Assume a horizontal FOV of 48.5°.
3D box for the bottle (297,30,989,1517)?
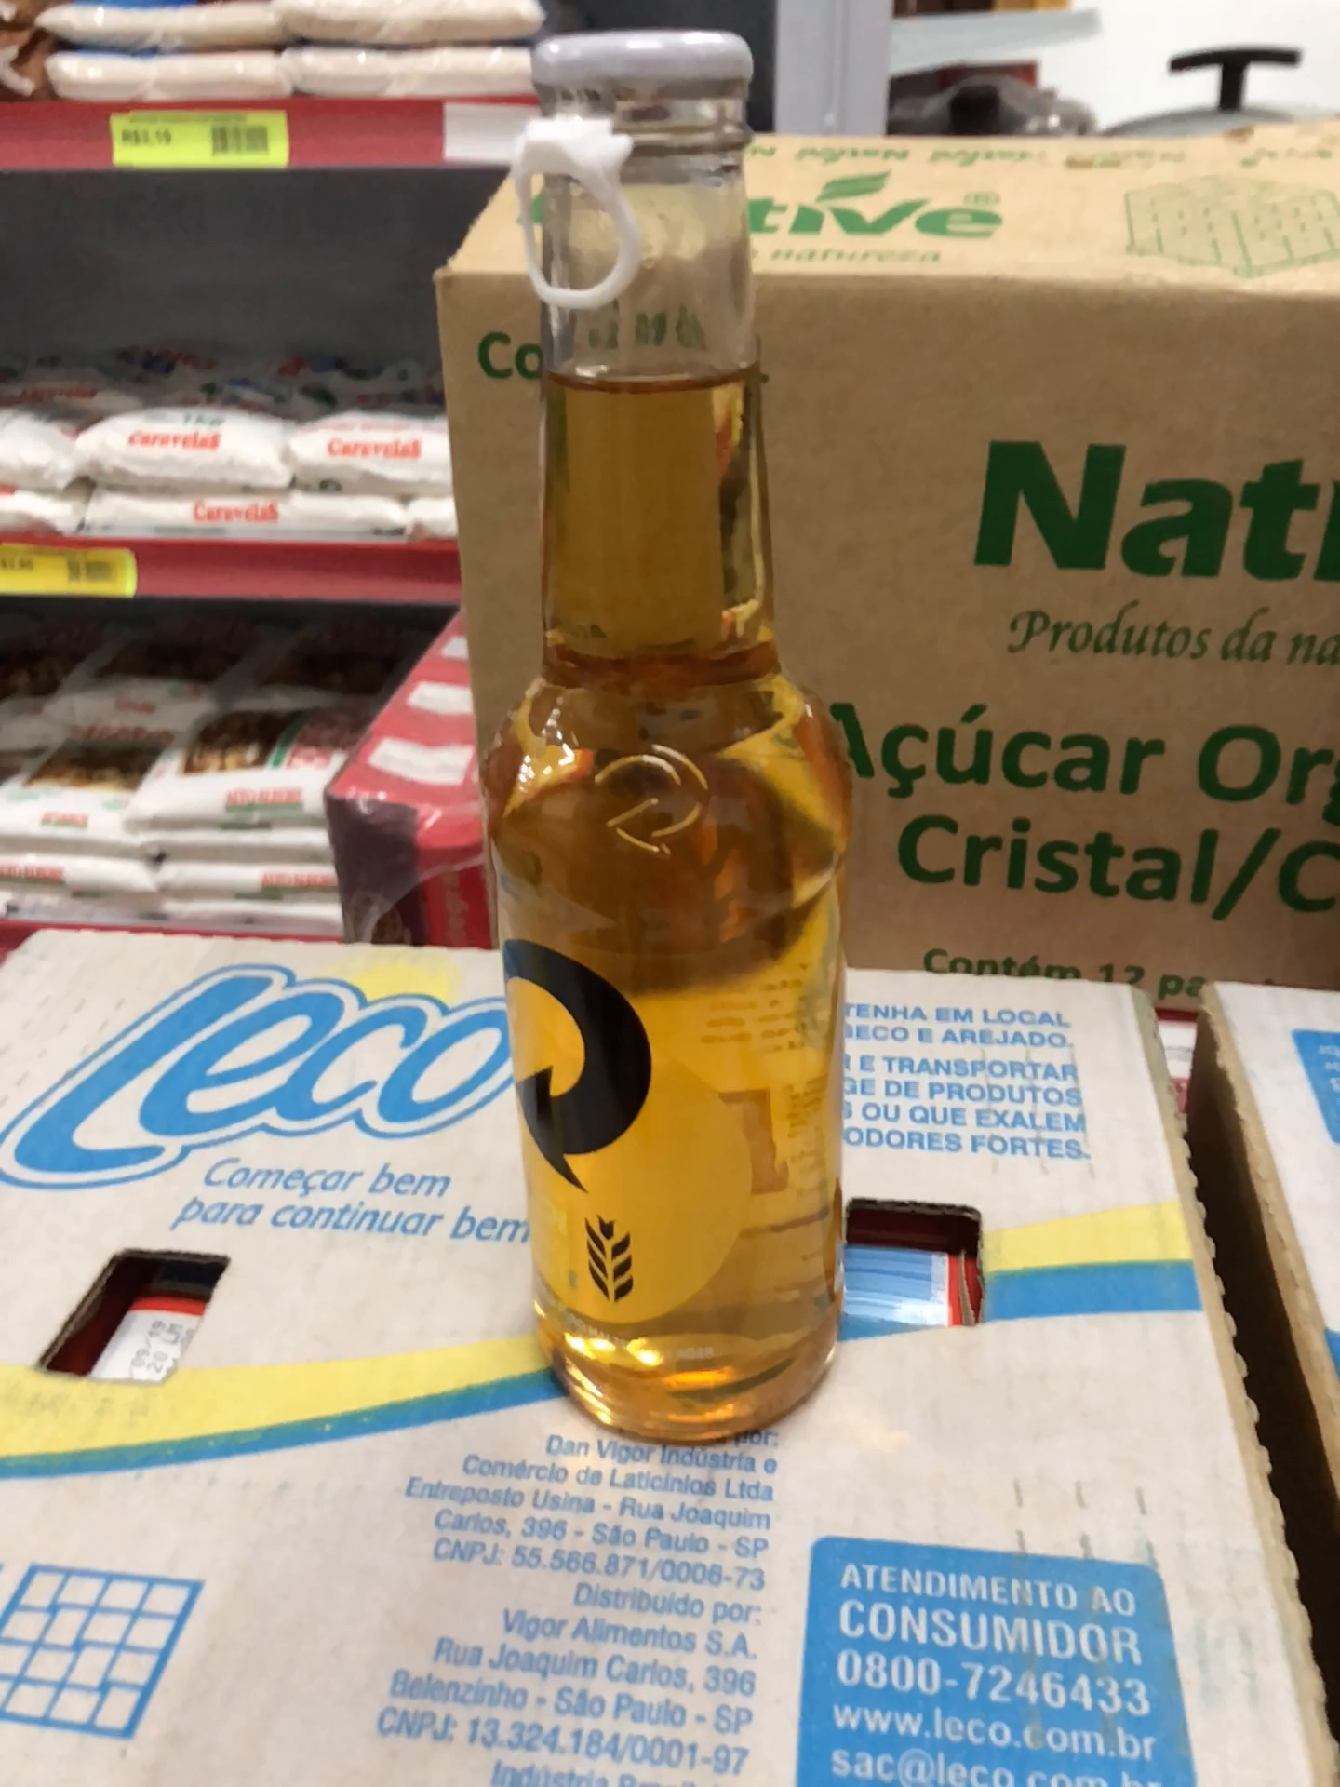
[{"bbox_3d":[0.000,-0.011,0.229,0.060,0.208,0.060,-1,28,0],"label":"bottle"}]
